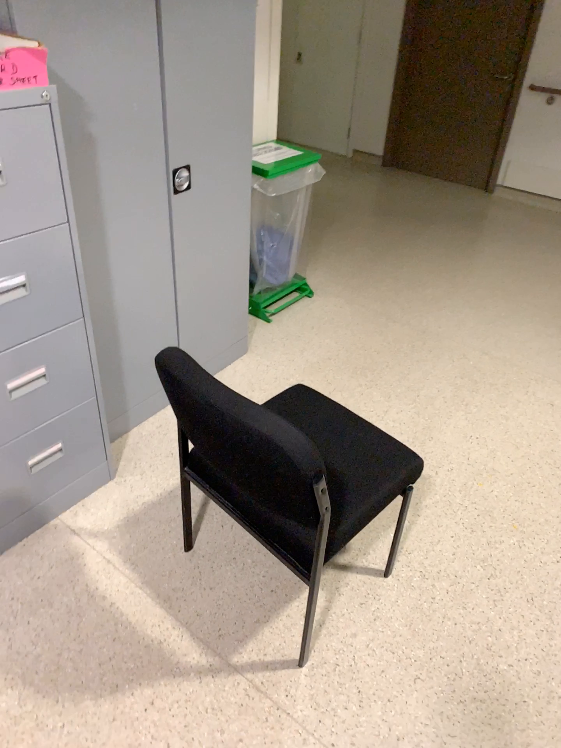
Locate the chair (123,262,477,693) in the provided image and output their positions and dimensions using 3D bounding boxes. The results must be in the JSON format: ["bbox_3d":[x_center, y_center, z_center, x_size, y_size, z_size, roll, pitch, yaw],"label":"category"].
[{"bbox_3d":[0.024,0.252,1.615,0.583,0.832,0.633,-28,46,-36],"label":"chair"}]
